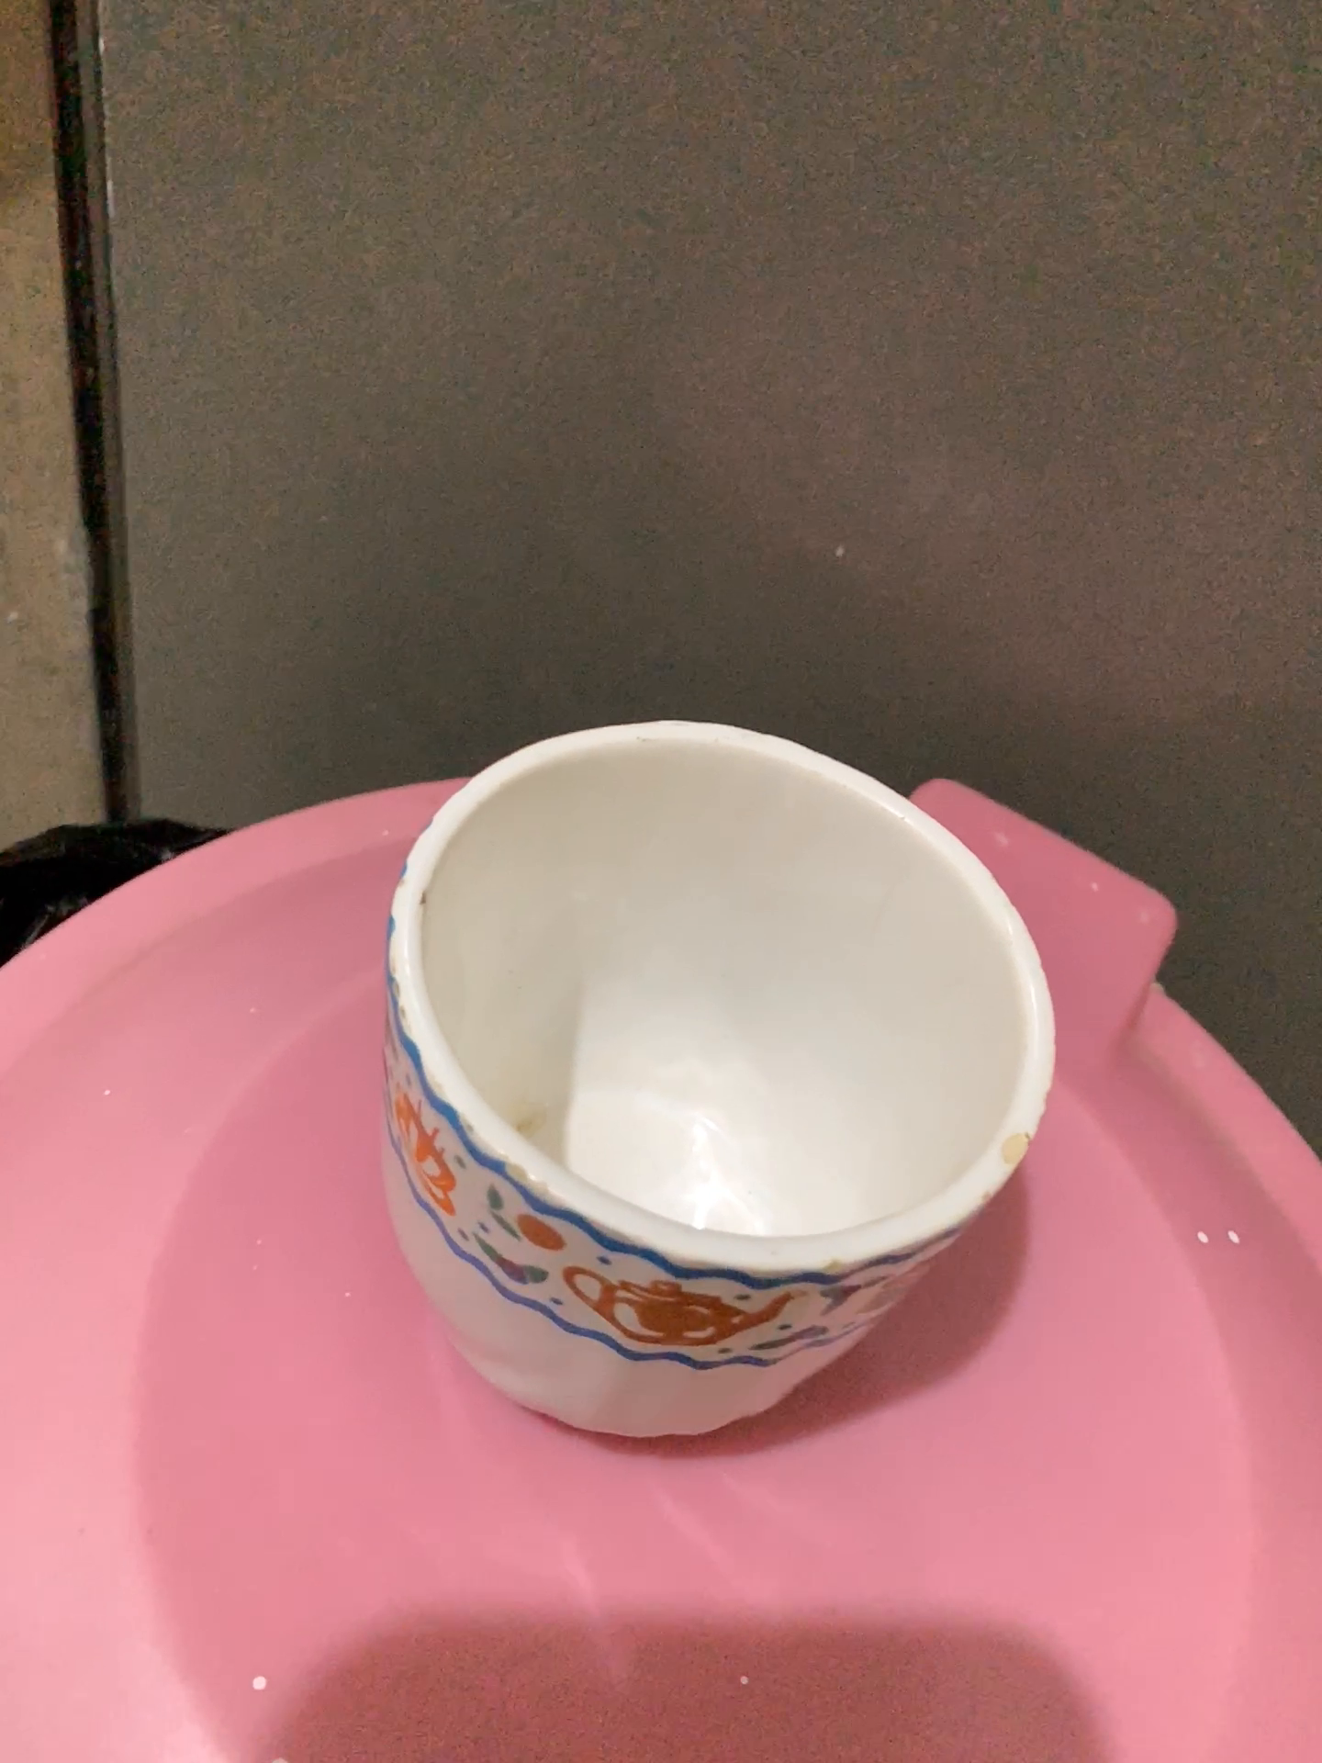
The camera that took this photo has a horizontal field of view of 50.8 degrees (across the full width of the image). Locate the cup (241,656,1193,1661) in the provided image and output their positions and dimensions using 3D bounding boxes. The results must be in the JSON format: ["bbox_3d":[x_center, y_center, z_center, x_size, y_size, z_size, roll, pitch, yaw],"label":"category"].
[{"bbox_3d":[0.001,0.027,0.162,0.070,0.060,0.070,9,44,-9],"label":"cup"}]
